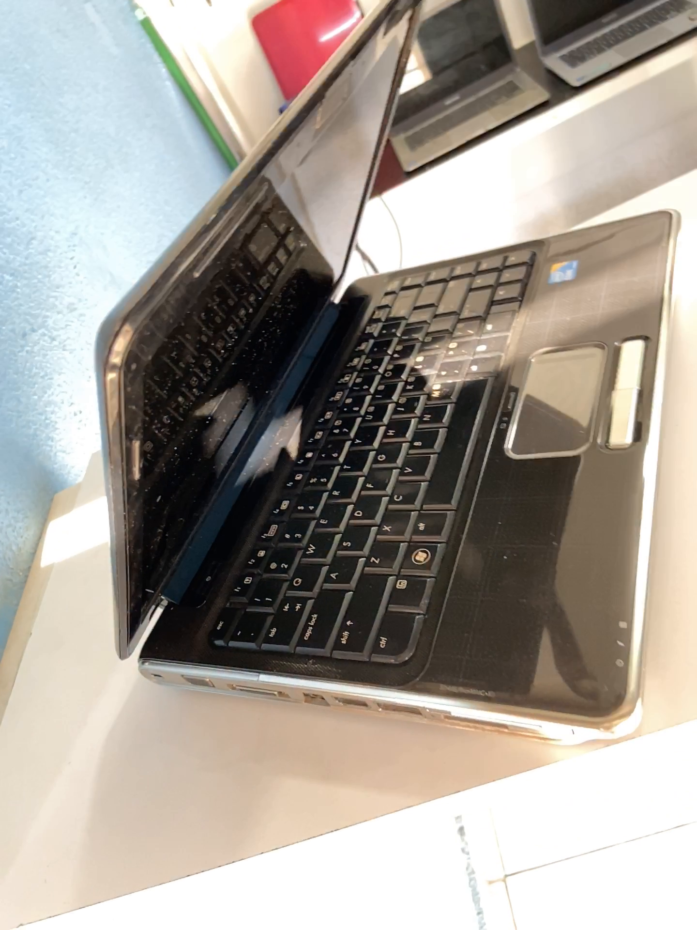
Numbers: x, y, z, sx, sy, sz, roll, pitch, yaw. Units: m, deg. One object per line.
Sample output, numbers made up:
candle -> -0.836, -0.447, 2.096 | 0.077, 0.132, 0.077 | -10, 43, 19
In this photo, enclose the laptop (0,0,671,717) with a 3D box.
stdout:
laptop -> 0.008, -0.086, 0.346 | 0.225, 0.165, 0.326 | -5, 44, 32
